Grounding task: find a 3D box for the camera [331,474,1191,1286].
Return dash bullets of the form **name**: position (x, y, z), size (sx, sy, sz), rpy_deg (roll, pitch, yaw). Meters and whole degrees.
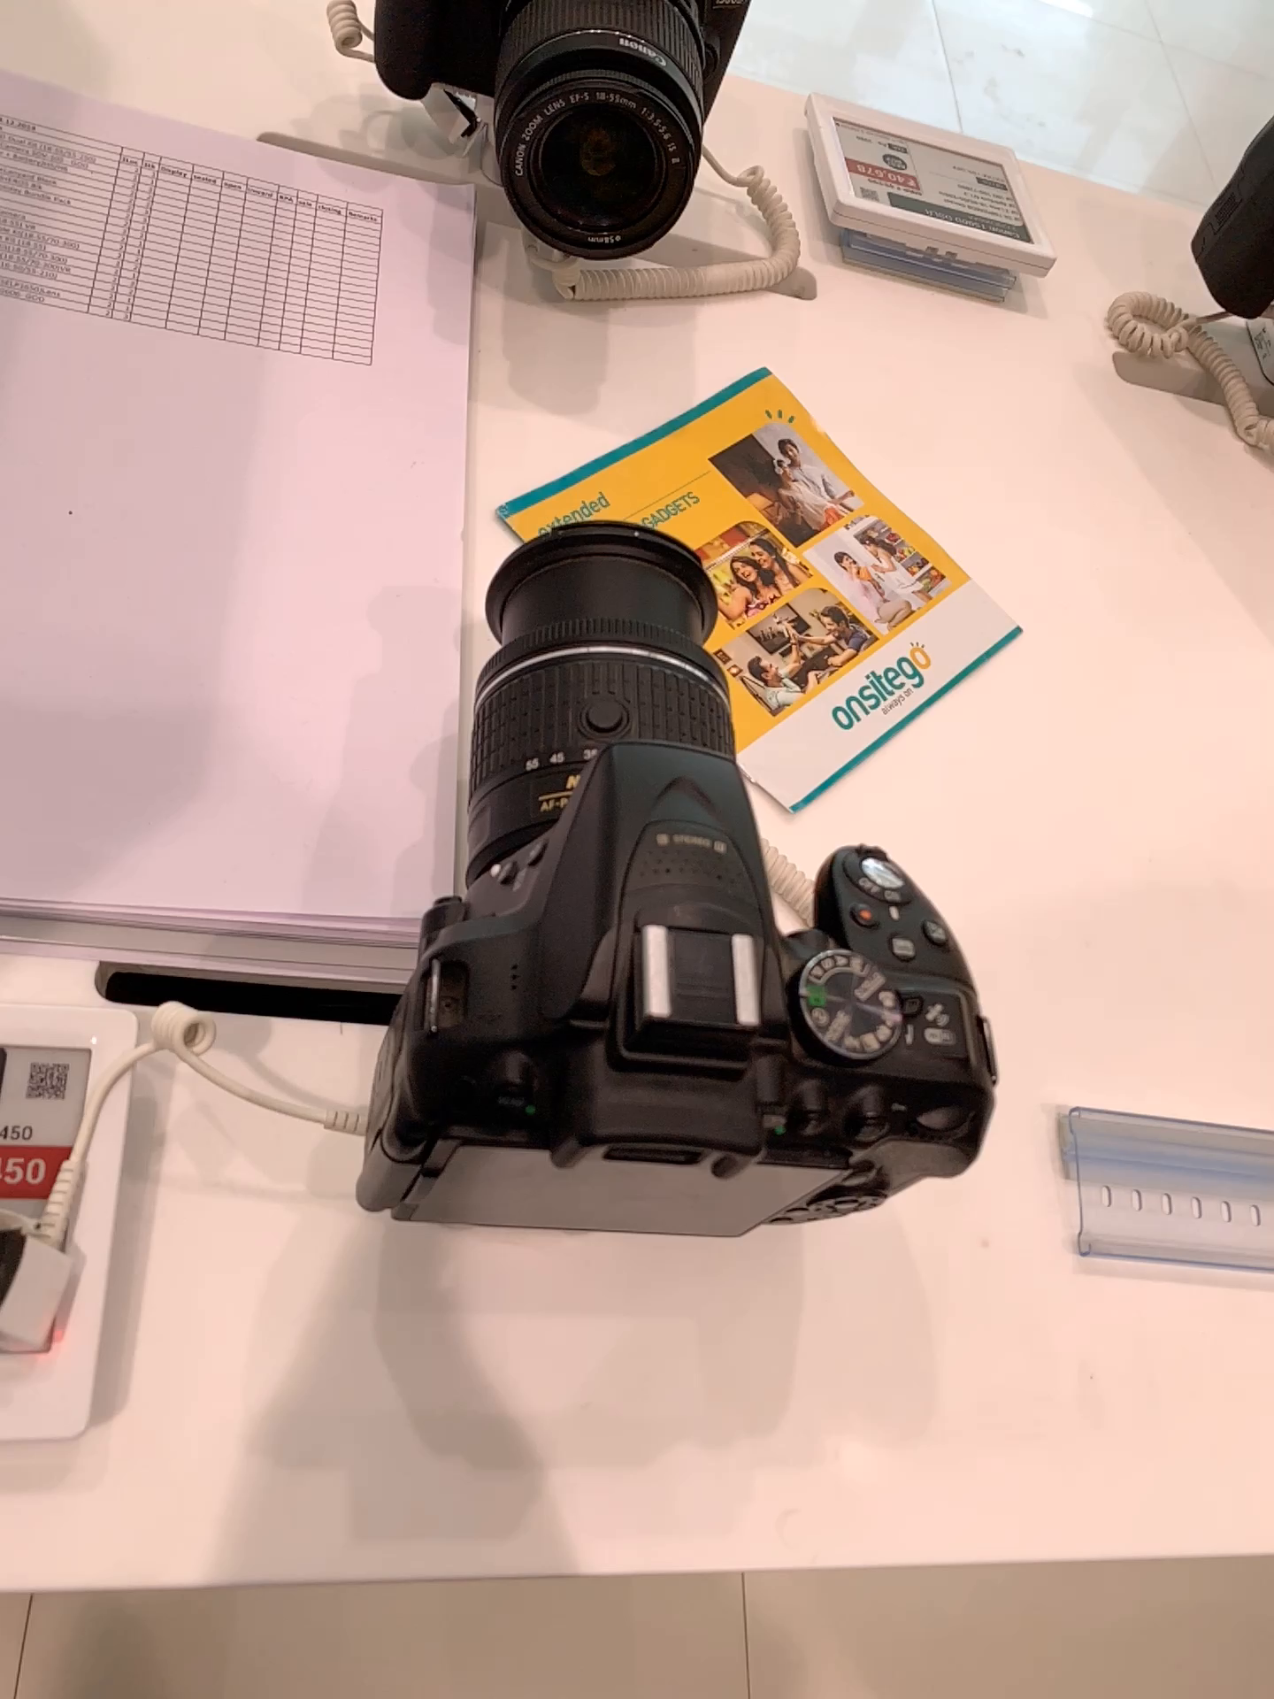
- **camera**: position (0.012, 0.015, 0.249), size (0.118, 0.100, 0.107), rpy_deg (8, 59, -15)
